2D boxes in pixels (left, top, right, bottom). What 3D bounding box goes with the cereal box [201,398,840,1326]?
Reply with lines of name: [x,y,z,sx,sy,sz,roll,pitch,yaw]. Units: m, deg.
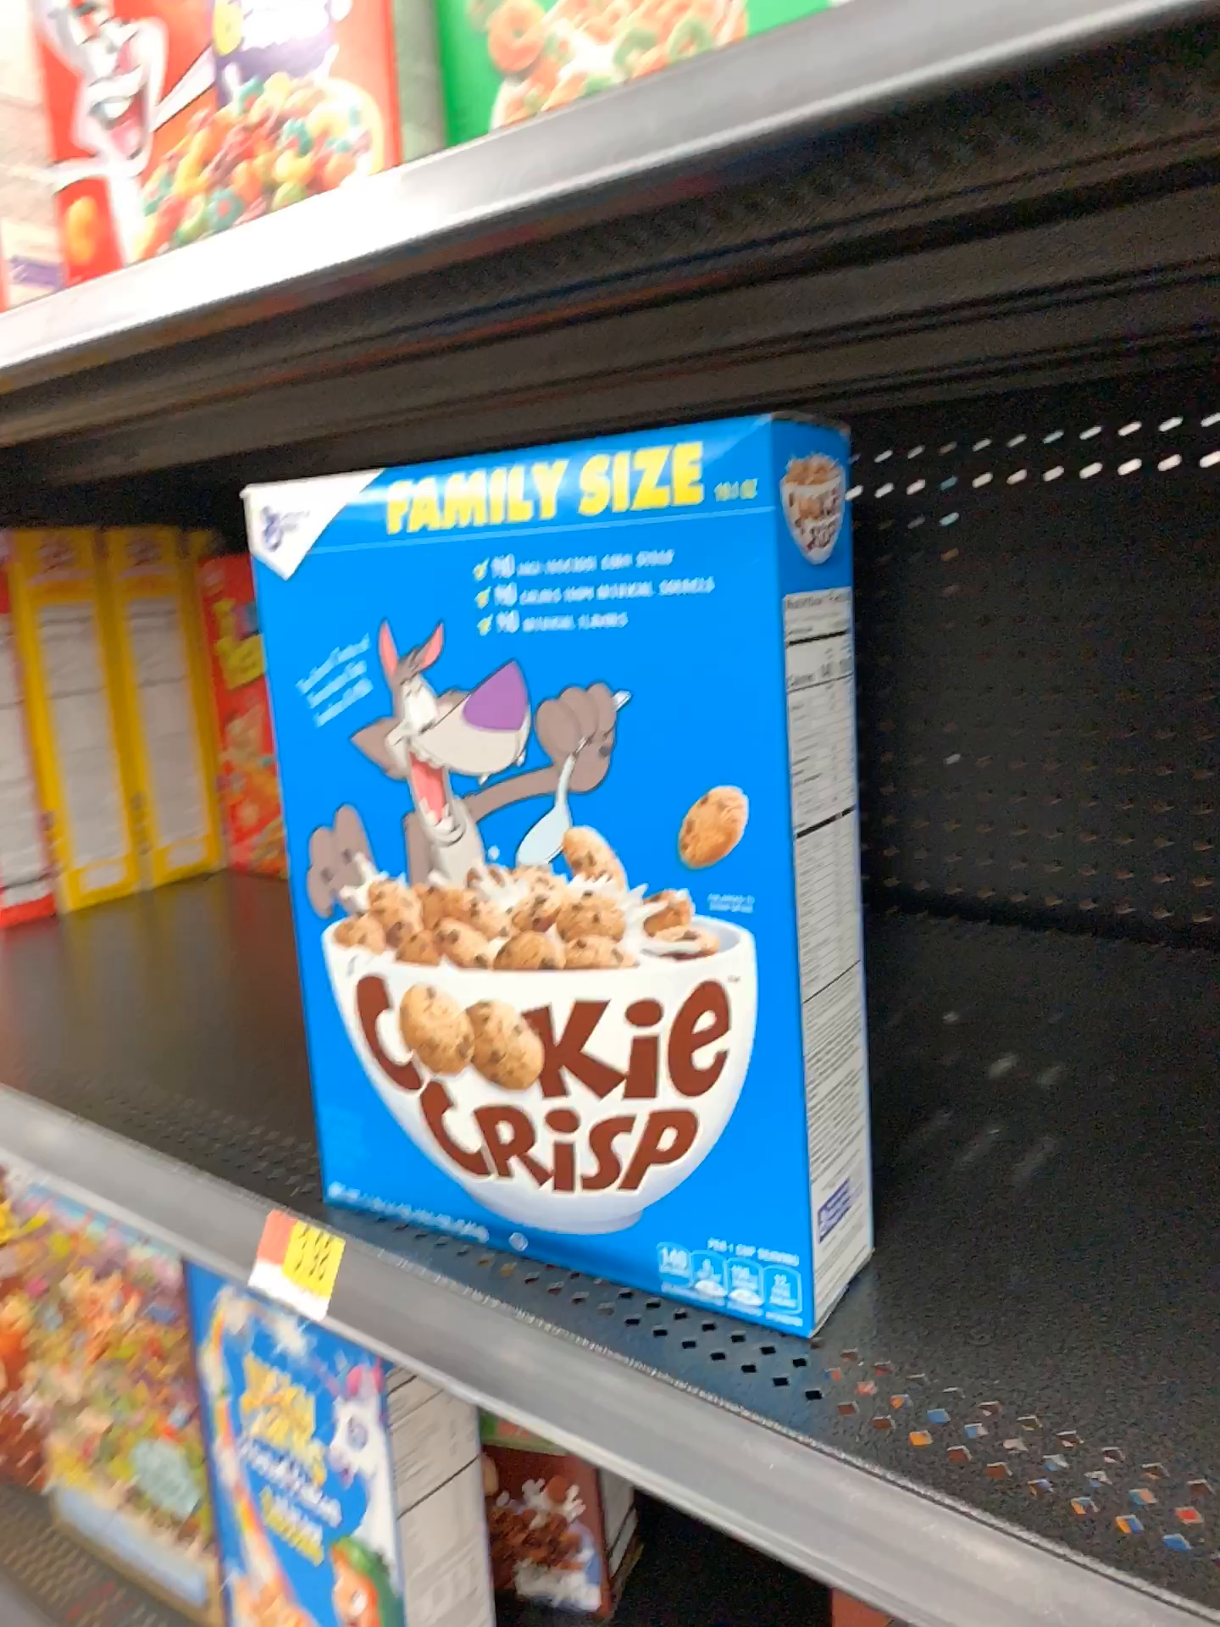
cereal box: [-0.039,0.016,0.538,0.250,0.339,0.070,2,12,30]
